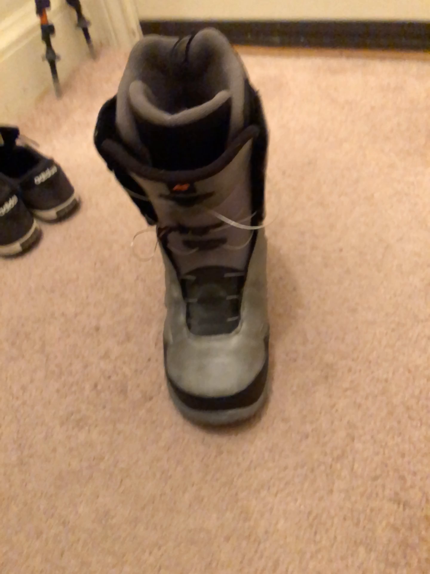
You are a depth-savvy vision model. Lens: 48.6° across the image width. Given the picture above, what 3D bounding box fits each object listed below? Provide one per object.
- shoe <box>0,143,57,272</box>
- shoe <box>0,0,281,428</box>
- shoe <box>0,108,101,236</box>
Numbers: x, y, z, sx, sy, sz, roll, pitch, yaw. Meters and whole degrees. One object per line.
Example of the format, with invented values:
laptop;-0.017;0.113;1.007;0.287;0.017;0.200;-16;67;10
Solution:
shoe;-0.392;-0.124;0.711;0.283;0.107;0.088;16;56;23
shoe;-0.018;-0.058;0.452;0.137;0.282;0.275;-1;51;11
shoe;-0.358;-0.201;0.804;0.304;0.116;0.108;18;53;25
